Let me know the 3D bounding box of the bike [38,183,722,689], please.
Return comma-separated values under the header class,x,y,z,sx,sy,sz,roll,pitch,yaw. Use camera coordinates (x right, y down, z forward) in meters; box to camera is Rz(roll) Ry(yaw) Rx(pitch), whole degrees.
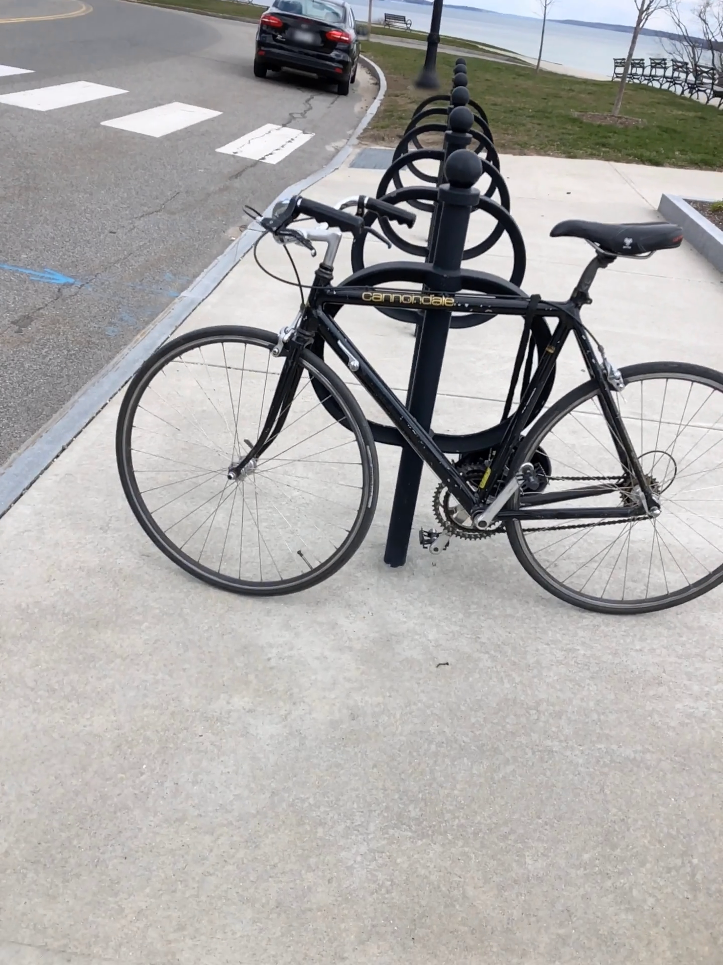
class,x,y,z,sx,sy,sz,roll,pitch,yaw
bike,0.173,-0.096,1.609,1.382,0.805,0.488,5,31,0
